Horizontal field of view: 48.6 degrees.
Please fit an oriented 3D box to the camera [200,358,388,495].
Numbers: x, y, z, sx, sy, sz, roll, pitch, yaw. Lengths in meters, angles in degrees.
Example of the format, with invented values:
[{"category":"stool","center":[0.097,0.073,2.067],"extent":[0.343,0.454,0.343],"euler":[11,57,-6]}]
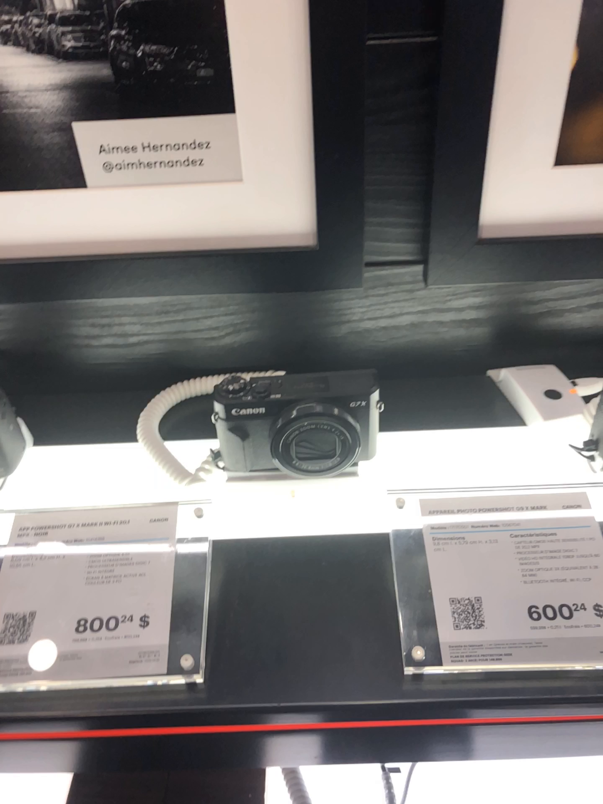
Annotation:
[{"category":"camera","center":[-0.003,0.017,0.427],"extent":[0.110,0.079,0.030],"euler":[-4,36,-1]}]
